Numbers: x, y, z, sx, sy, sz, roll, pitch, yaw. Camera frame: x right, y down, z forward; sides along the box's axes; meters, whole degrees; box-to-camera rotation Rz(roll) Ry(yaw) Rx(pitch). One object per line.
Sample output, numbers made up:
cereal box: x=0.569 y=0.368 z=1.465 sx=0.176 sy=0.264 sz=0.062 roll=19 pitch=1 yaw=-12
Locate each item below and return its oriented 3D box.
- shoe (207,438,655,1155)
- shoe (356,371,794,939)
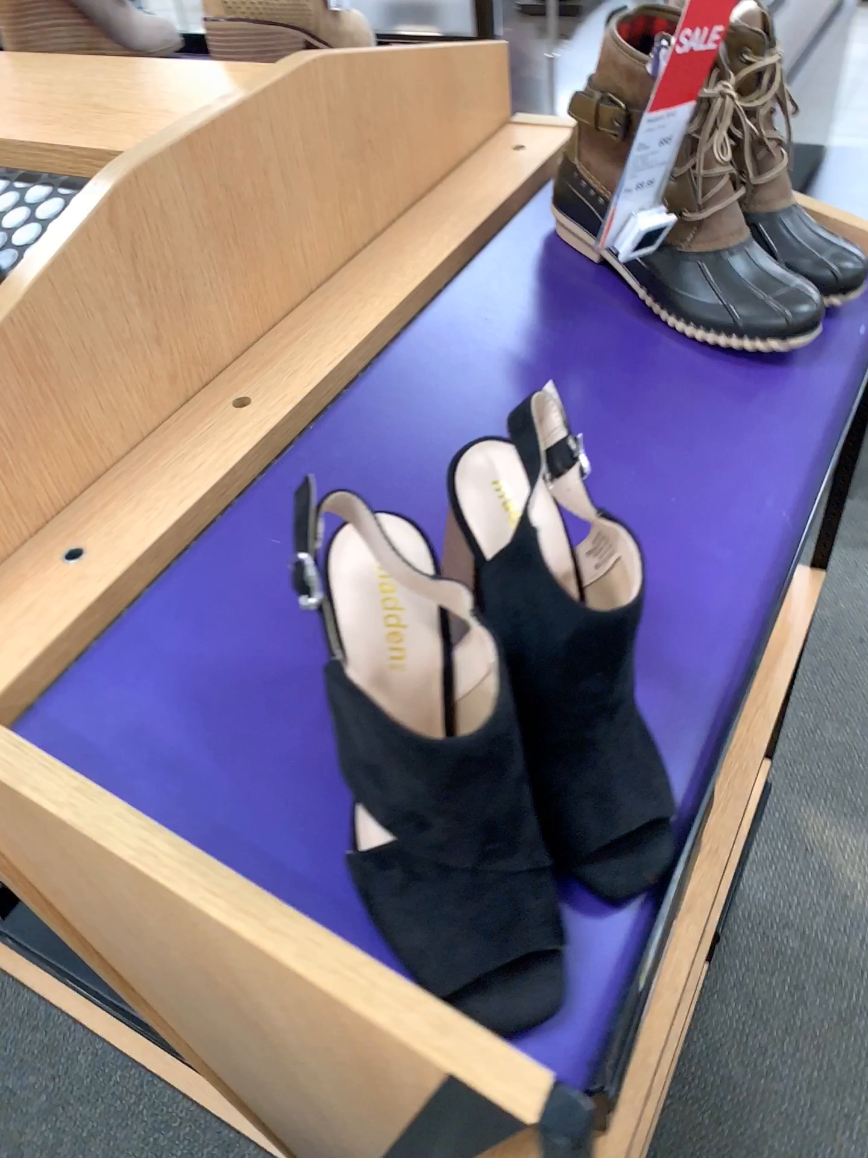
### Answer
shoe: x=-0.011 y=0.081 z=0.360 sx=0.080 sy=0.140 sz=0.221 roll=-18 pitch=69 yaw=-8
shoe: x=0.046 y=0.032 z=0.405 sx=0.080 sy=0.110 sz=0.221 roll=-21 pitch=63 yaw=-12
